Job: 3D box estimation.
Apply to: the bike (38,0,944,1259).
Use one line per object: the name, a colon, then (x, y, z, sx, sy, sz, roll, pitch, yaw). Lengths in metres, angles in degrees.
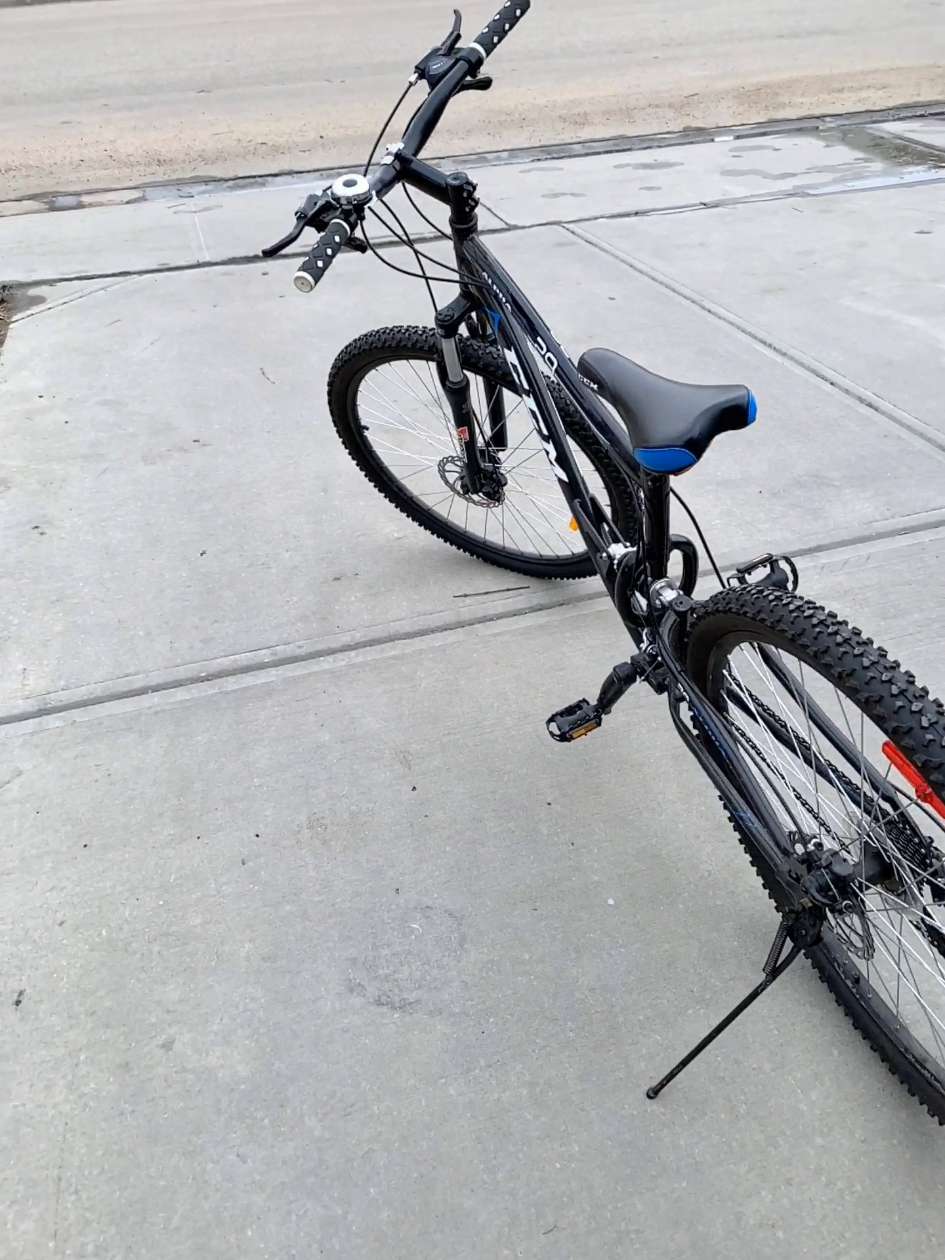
bike: (0.078, -0.100, 1.336, 0.628, 1.173, 1.796, -21, 43, -21)
